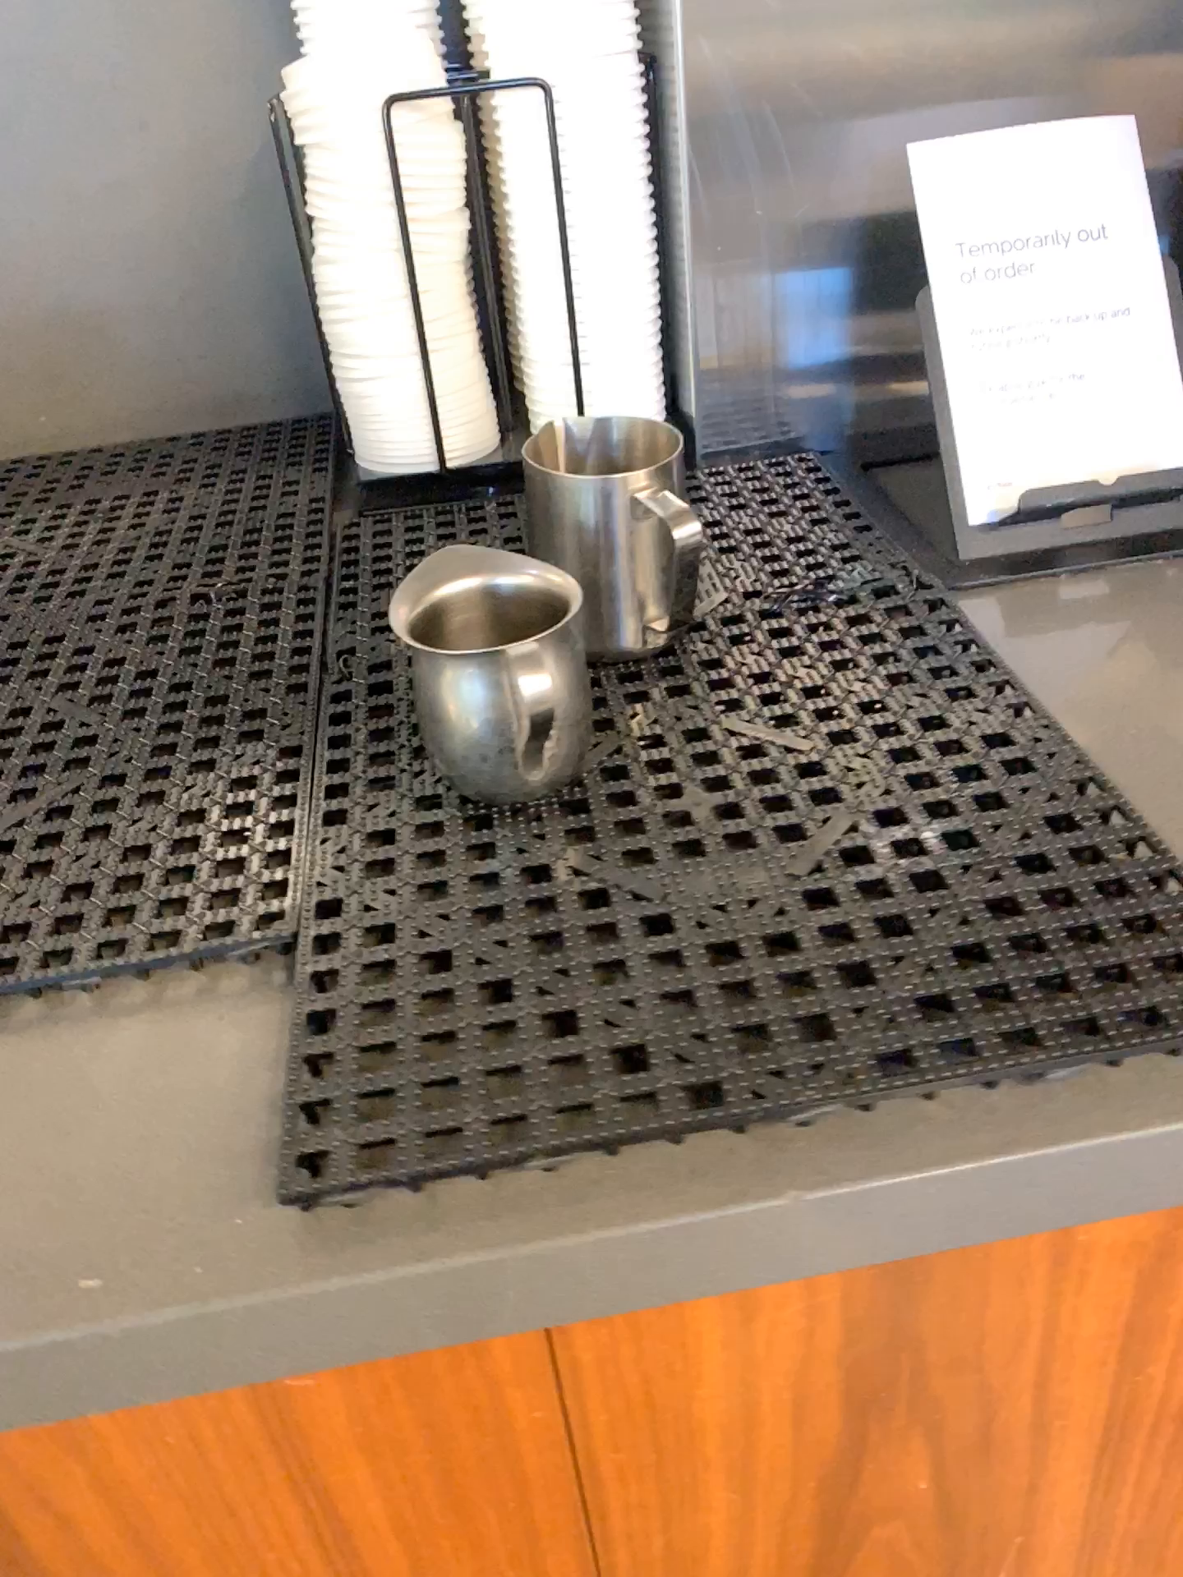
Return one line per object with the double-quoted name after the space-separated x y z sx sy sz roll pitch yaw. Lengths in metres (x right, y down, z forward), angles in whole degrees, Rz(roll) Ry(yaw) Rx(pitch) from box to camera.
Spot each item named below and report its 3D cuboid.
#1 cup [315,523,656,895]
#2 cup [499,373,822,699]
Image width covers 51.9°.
-0.041 -0.035 0.442 0.080 0.070 0.121 -18 36 -16 "cup"
0.026 -0.109 0.499 0.080 0.079 0.121 -19 36 -17 "cup"
